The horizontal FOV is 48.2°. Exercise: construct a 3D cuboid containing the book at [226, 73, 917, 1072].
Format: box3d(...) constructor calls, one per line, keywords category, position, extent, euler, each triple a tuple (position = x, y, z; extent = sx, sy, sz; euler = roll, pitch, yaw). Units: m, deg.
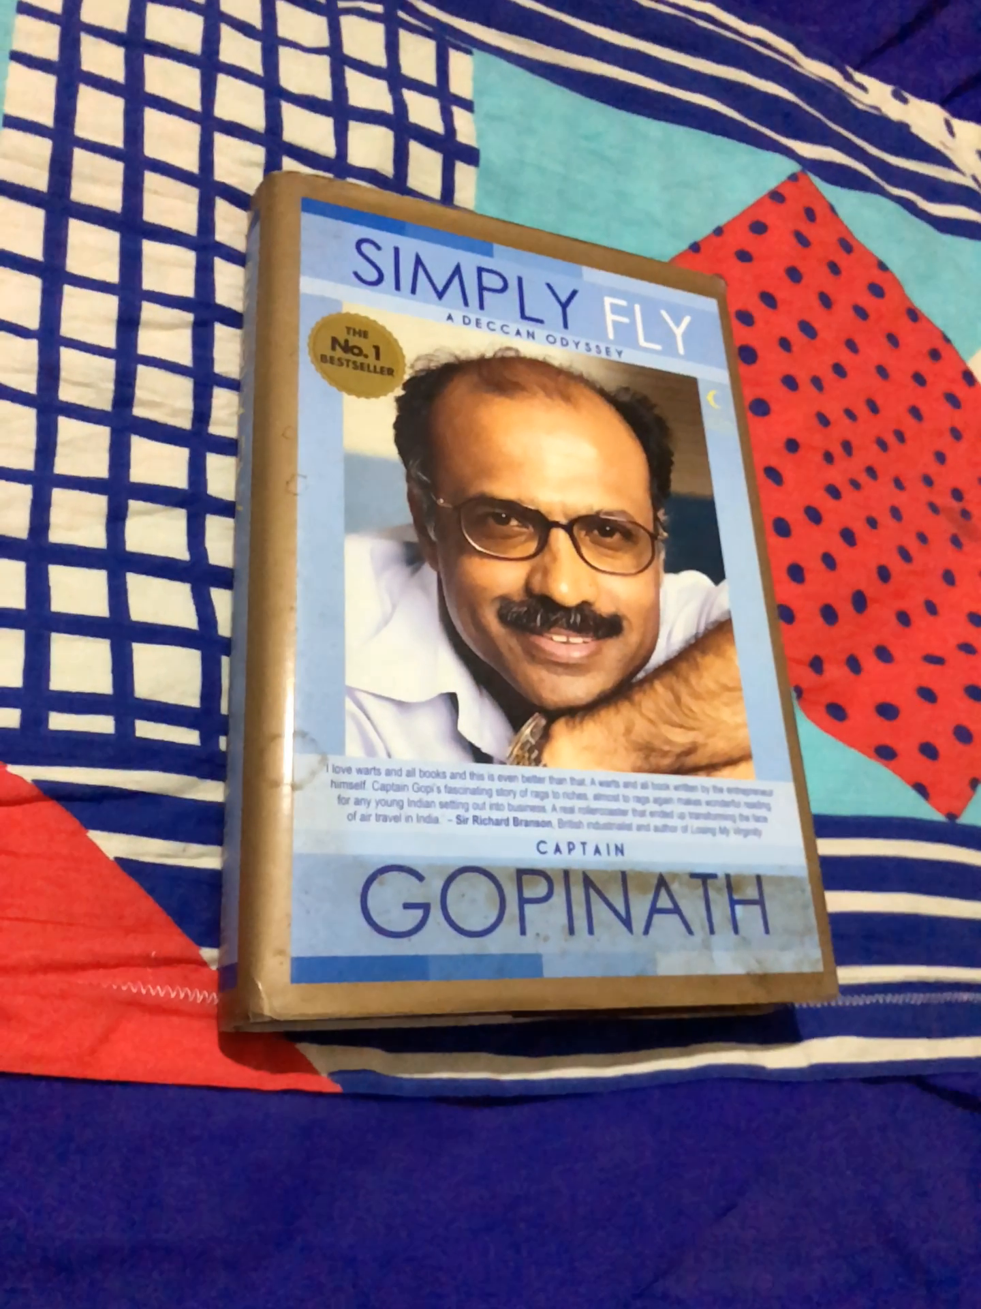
box3d(category="book", position=(0.016, -0.023, 0.305), extent=(0.161, 0.050, 0.250), euler=(6, 68, -23))
